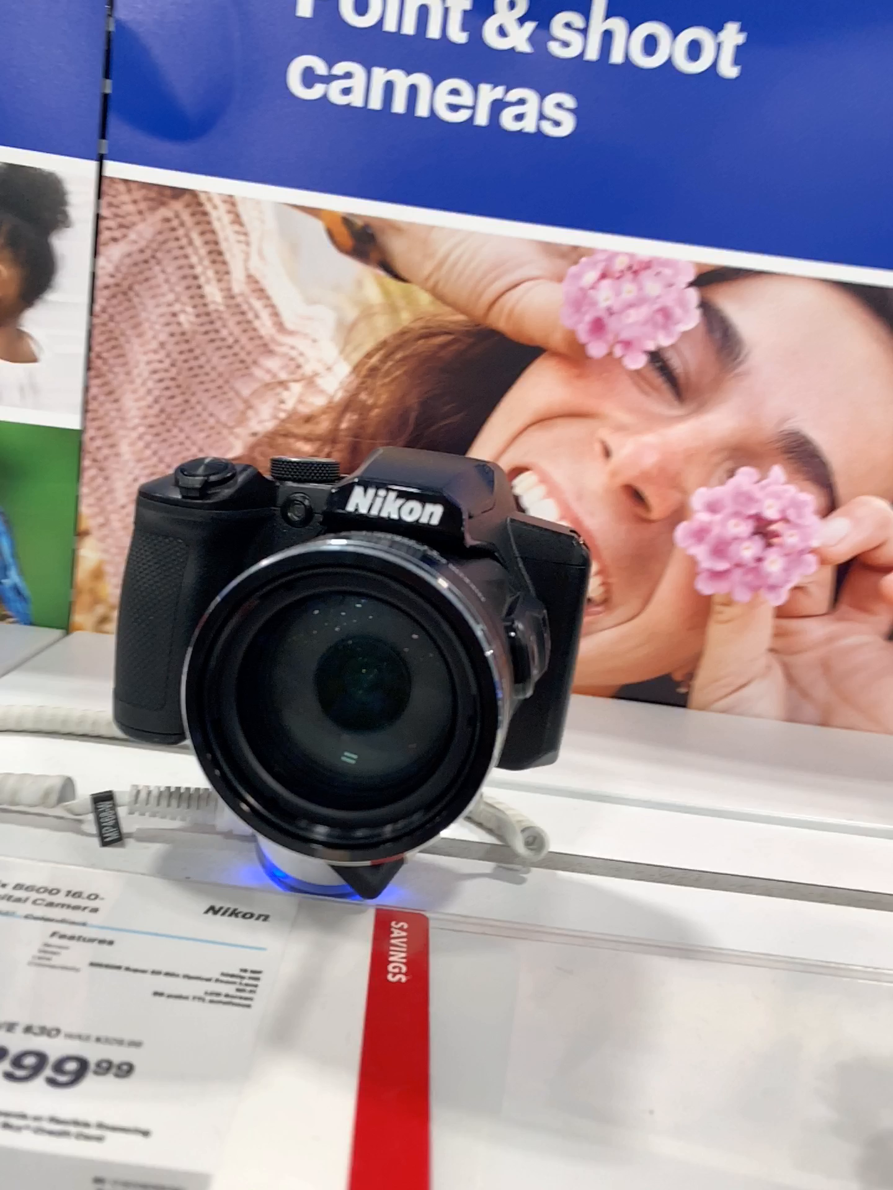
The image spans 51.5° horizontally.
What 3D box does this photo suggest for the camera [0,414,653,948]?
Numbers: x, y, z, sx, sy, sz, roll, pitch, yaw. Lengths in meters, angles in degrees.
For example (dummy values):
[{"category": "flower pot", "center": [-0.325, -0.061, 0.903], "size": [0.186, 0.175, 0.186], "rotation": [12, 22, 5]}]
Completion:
[{"category": "camera", "center": [-0.025, 0.009, 0.218], "size": [0.120, 0.080, 0.100], "rotation": [9, 9, 5]}]
